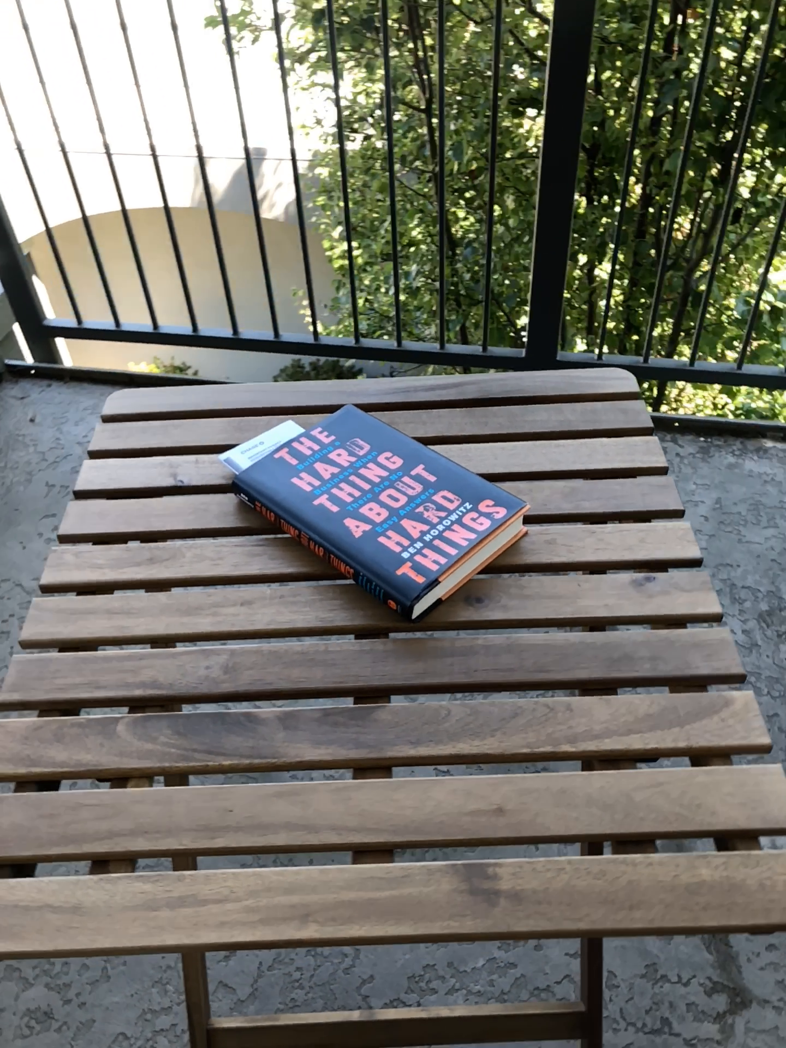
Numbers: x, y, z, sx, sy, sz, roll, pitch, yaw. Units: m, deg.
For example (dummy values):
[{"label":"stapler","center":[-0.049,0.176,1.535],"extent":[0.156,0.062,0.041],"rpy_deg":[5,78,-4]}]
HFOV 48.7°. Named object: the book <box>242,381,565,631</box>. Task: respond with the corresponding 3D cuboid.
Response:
[{"label":"book","center":[0.007,-0.030,0.814],"extent":[0.241,0.040,0.180],"rpy_deg":[34,56,31]}]
